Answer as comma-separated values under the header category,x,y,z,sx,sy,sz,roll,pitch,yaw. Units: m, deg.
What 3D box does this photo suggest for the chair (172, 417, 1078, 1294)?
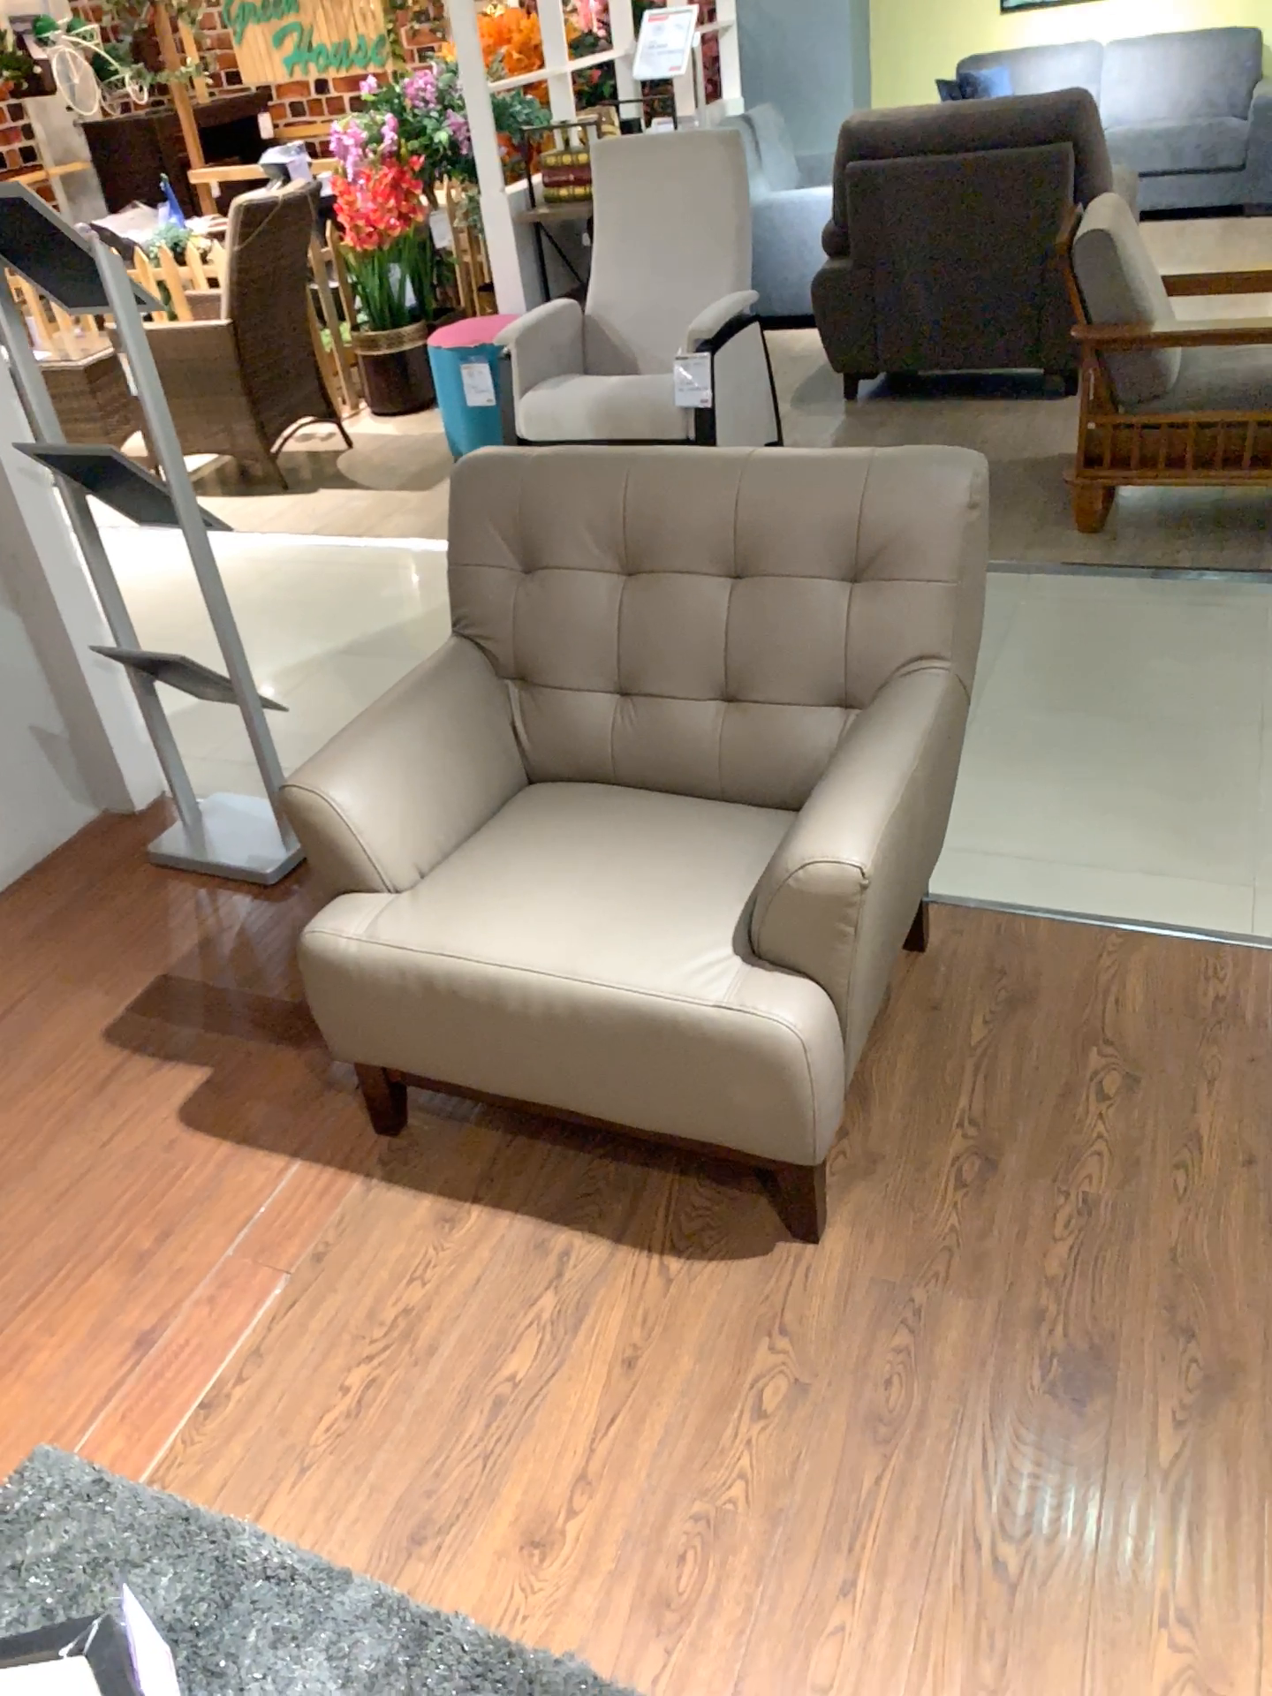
category,x,y,z,sx,sy,sz,roll,pitch,yaw
chair,0.093,-0.102,2.054,0.952,0.856,1.002,9,36,24
